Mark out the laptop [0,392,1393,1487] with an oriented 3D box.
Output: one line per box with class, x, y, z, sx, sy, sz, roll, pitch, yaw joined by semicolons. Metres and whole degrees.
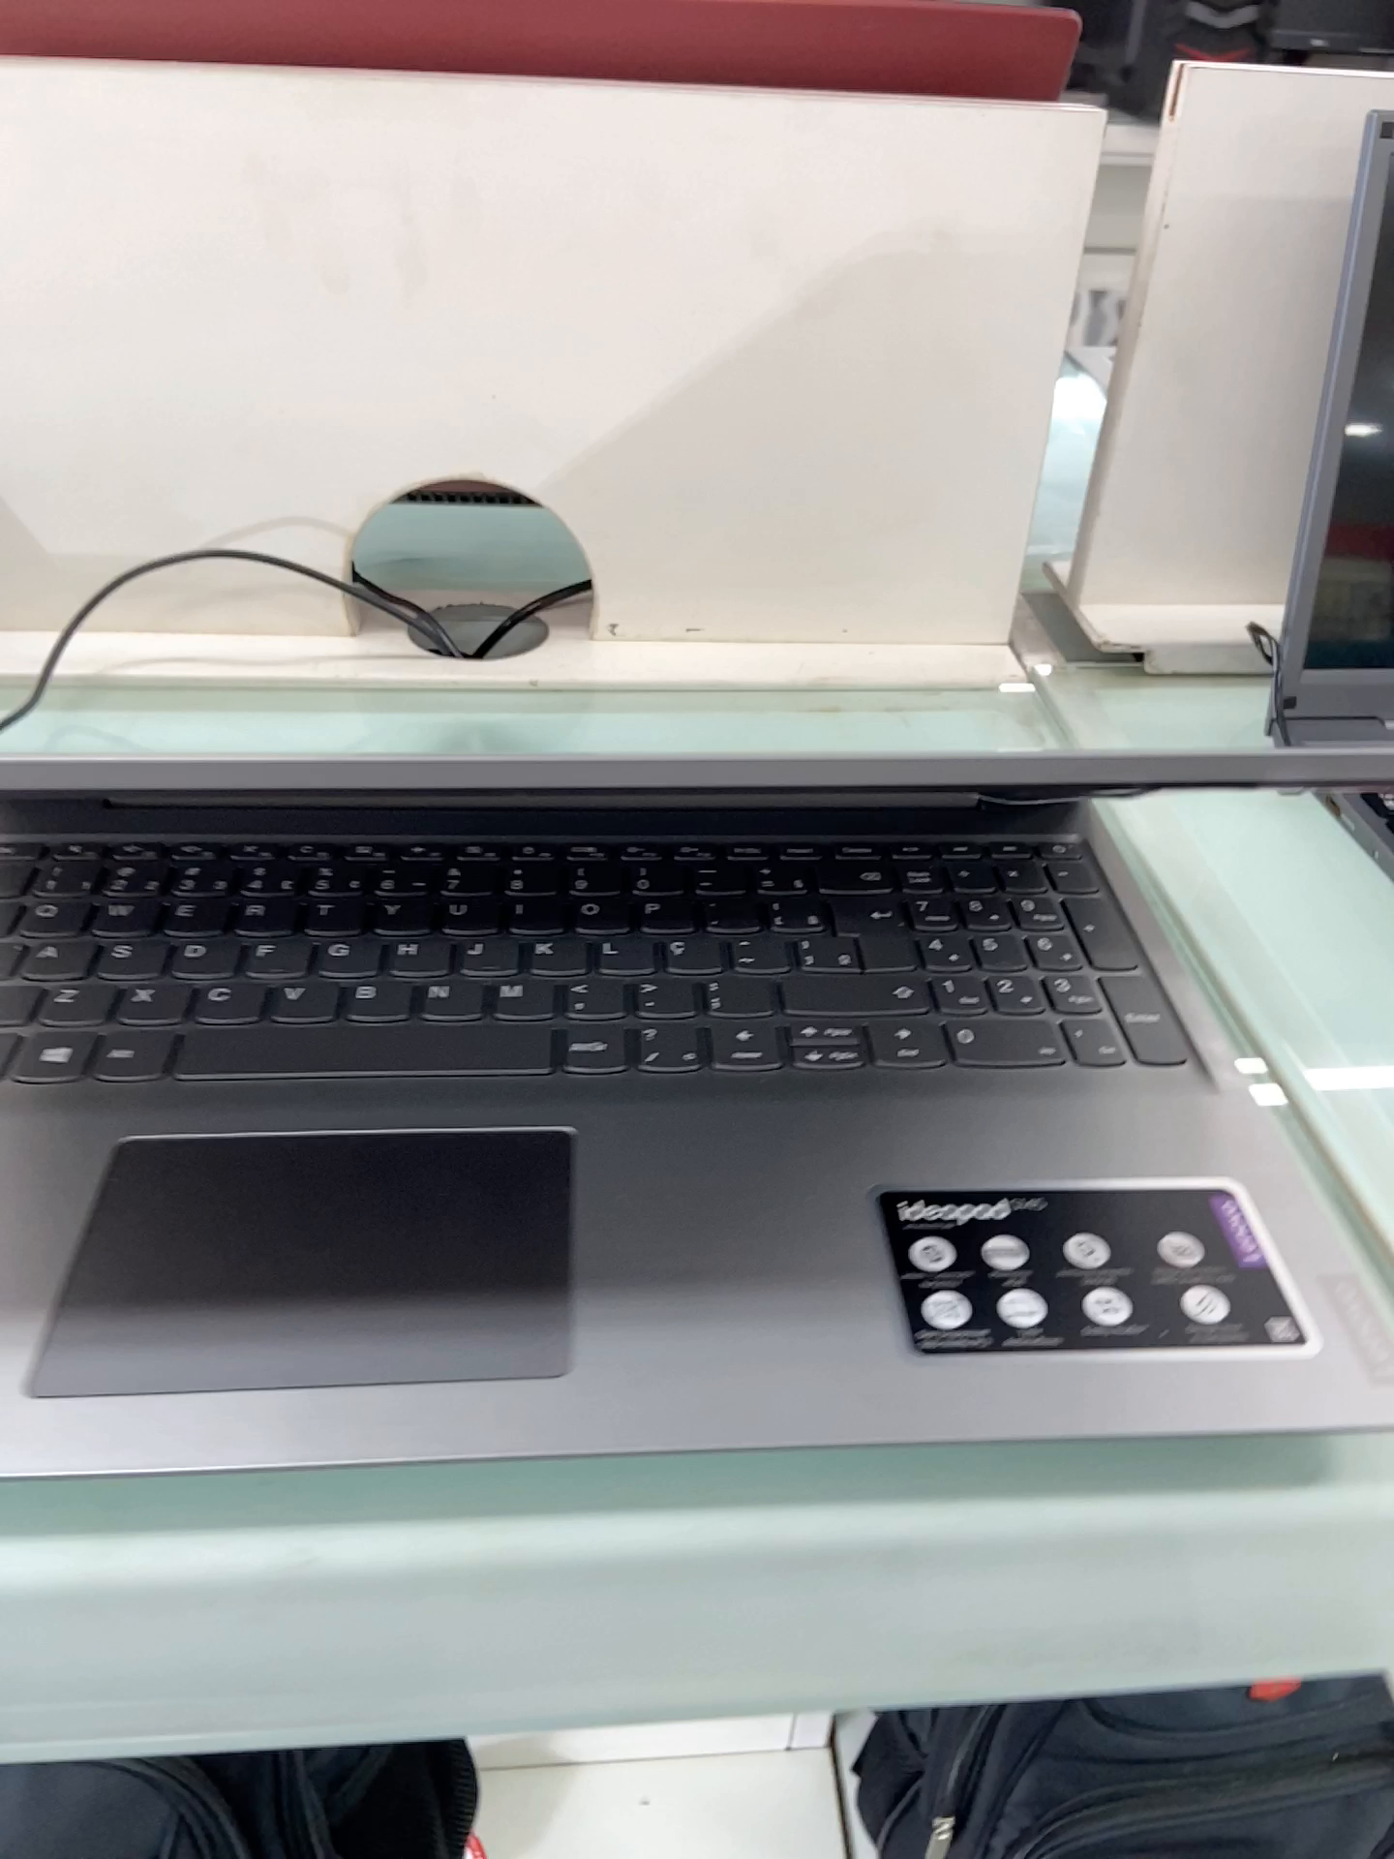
laptop;-0.041;-0.025;0.342;0.363;0.127;0.251;-1;35;-4
